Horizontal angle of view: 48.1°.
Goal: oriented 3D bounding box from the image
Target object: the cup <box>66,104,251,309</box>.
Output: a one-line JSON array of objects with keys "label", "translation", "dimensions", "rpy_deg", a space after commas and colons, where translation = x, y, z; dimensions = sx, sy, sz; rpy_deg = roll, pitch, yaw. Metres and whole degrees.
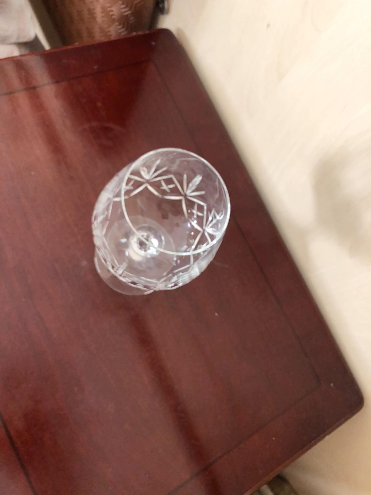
[{"label": "cup", "translation": [-0.026, -0.016, 0.299], "dimensions": [0.089, 0.126, 0.088], "rpy_deg": [6, 73, -18]}]
